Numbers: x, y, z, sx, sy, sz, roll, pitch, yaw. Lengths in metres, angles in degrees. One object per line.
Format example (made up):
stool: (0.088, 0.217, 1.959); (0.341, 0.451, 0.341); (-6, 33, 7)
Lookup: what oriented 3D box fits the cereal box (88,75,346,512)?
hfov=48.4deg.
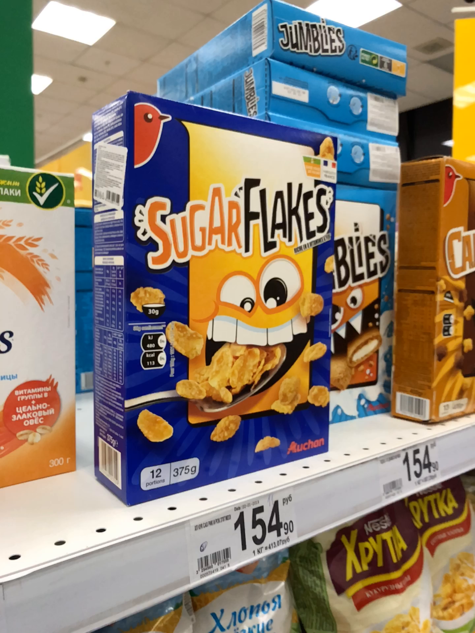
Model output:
cereal box: (-0.009, -0.018, 0.426); (0.200, 0.280, 0.070); (-2, 4, -37)
